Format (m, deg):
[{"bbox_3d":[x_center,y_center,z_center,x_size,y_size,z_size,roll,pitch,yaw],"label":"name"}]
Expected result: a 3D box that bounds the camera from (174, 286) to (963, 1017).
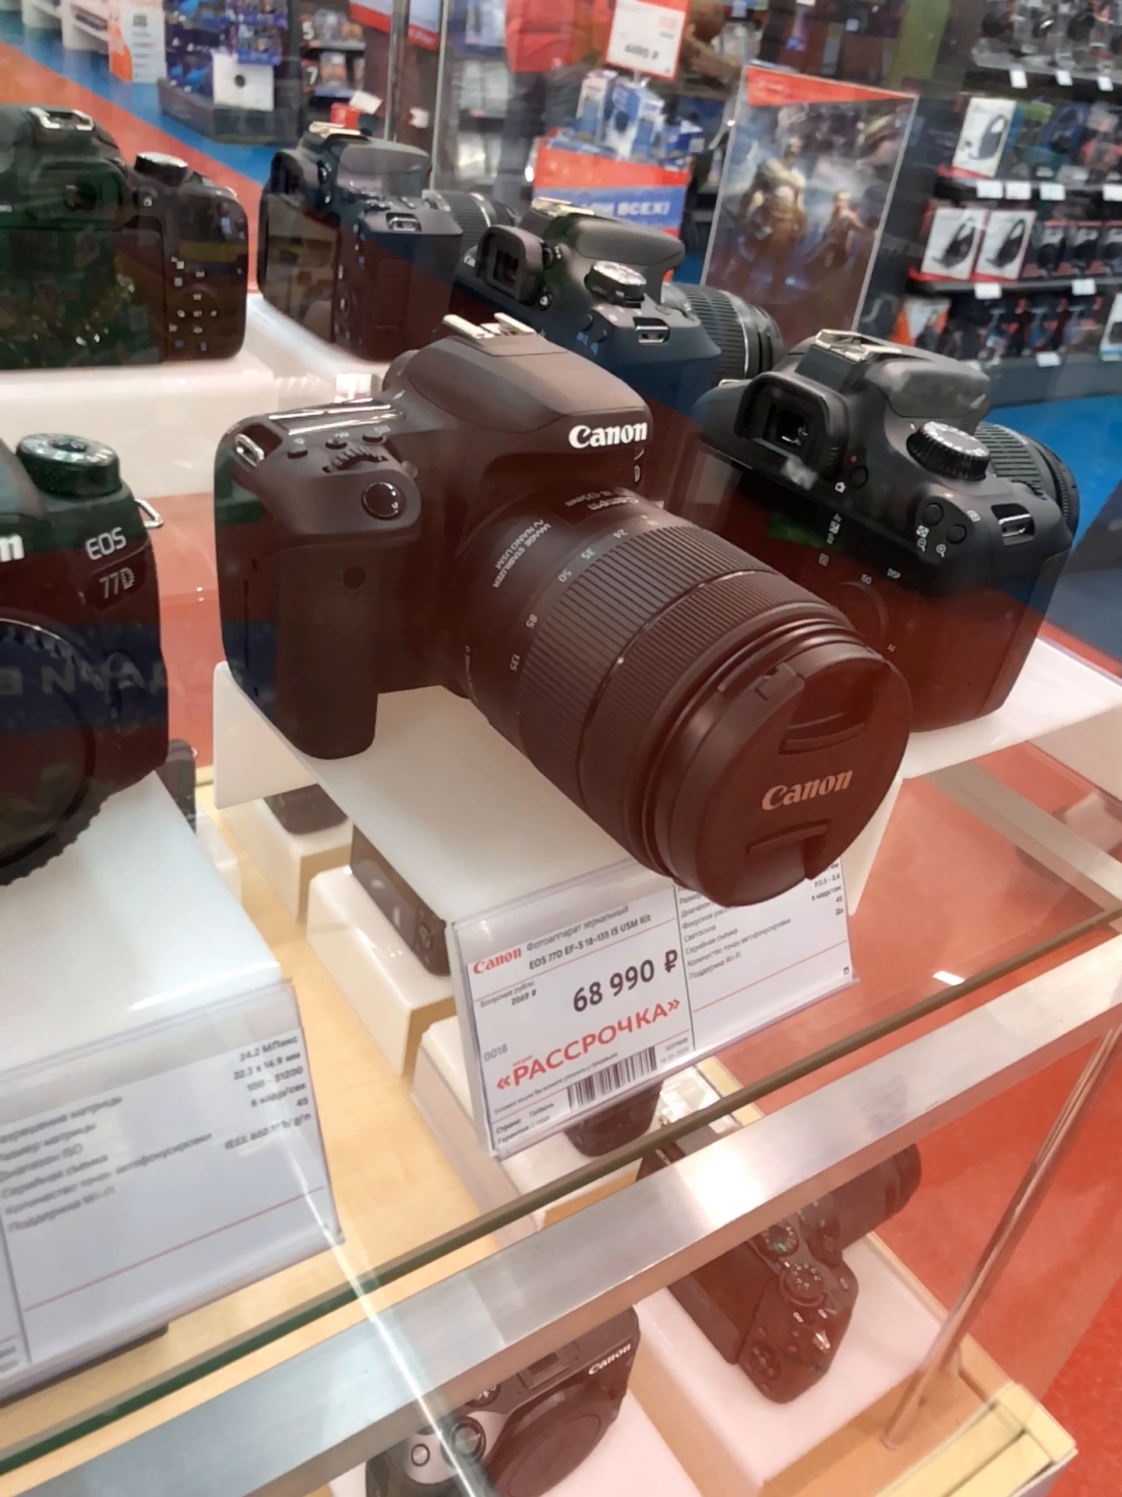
[{"bbox_3d":[-0.012,-0.044,0.351,0.132,0.119,0.168,-16,41,-34],"label":"camera"}]
